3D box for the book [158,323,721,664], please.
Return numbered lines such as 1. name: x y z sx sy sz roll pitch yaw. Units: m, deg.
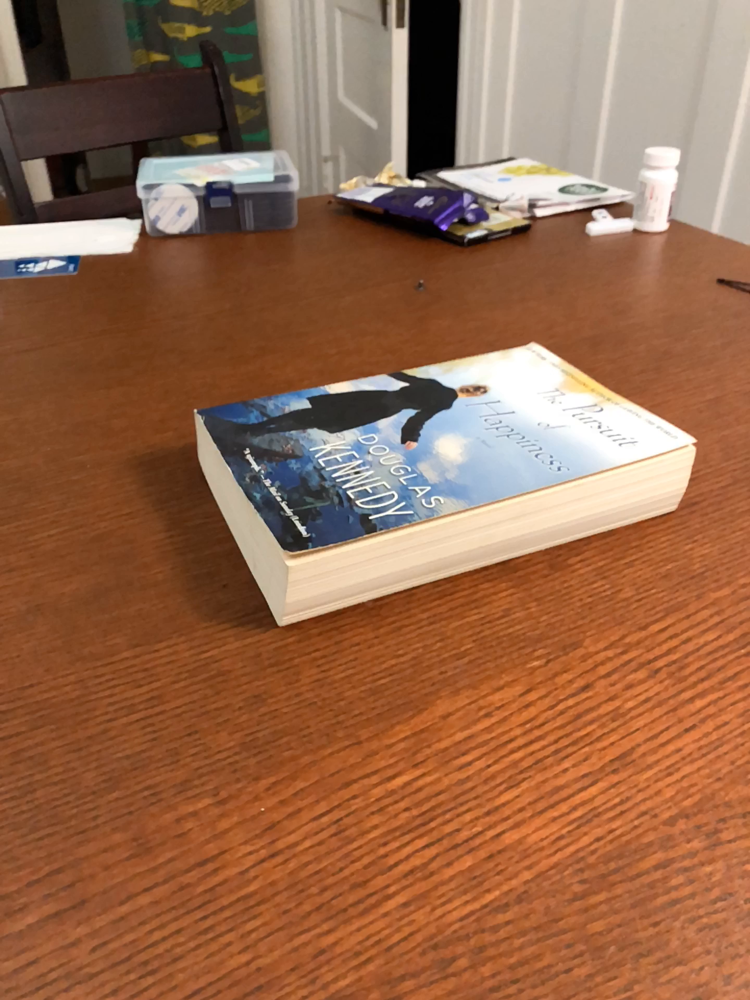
1. book: 0.027 -0.022 0.438 0.240 0.050 0.161 -15 37 -20
